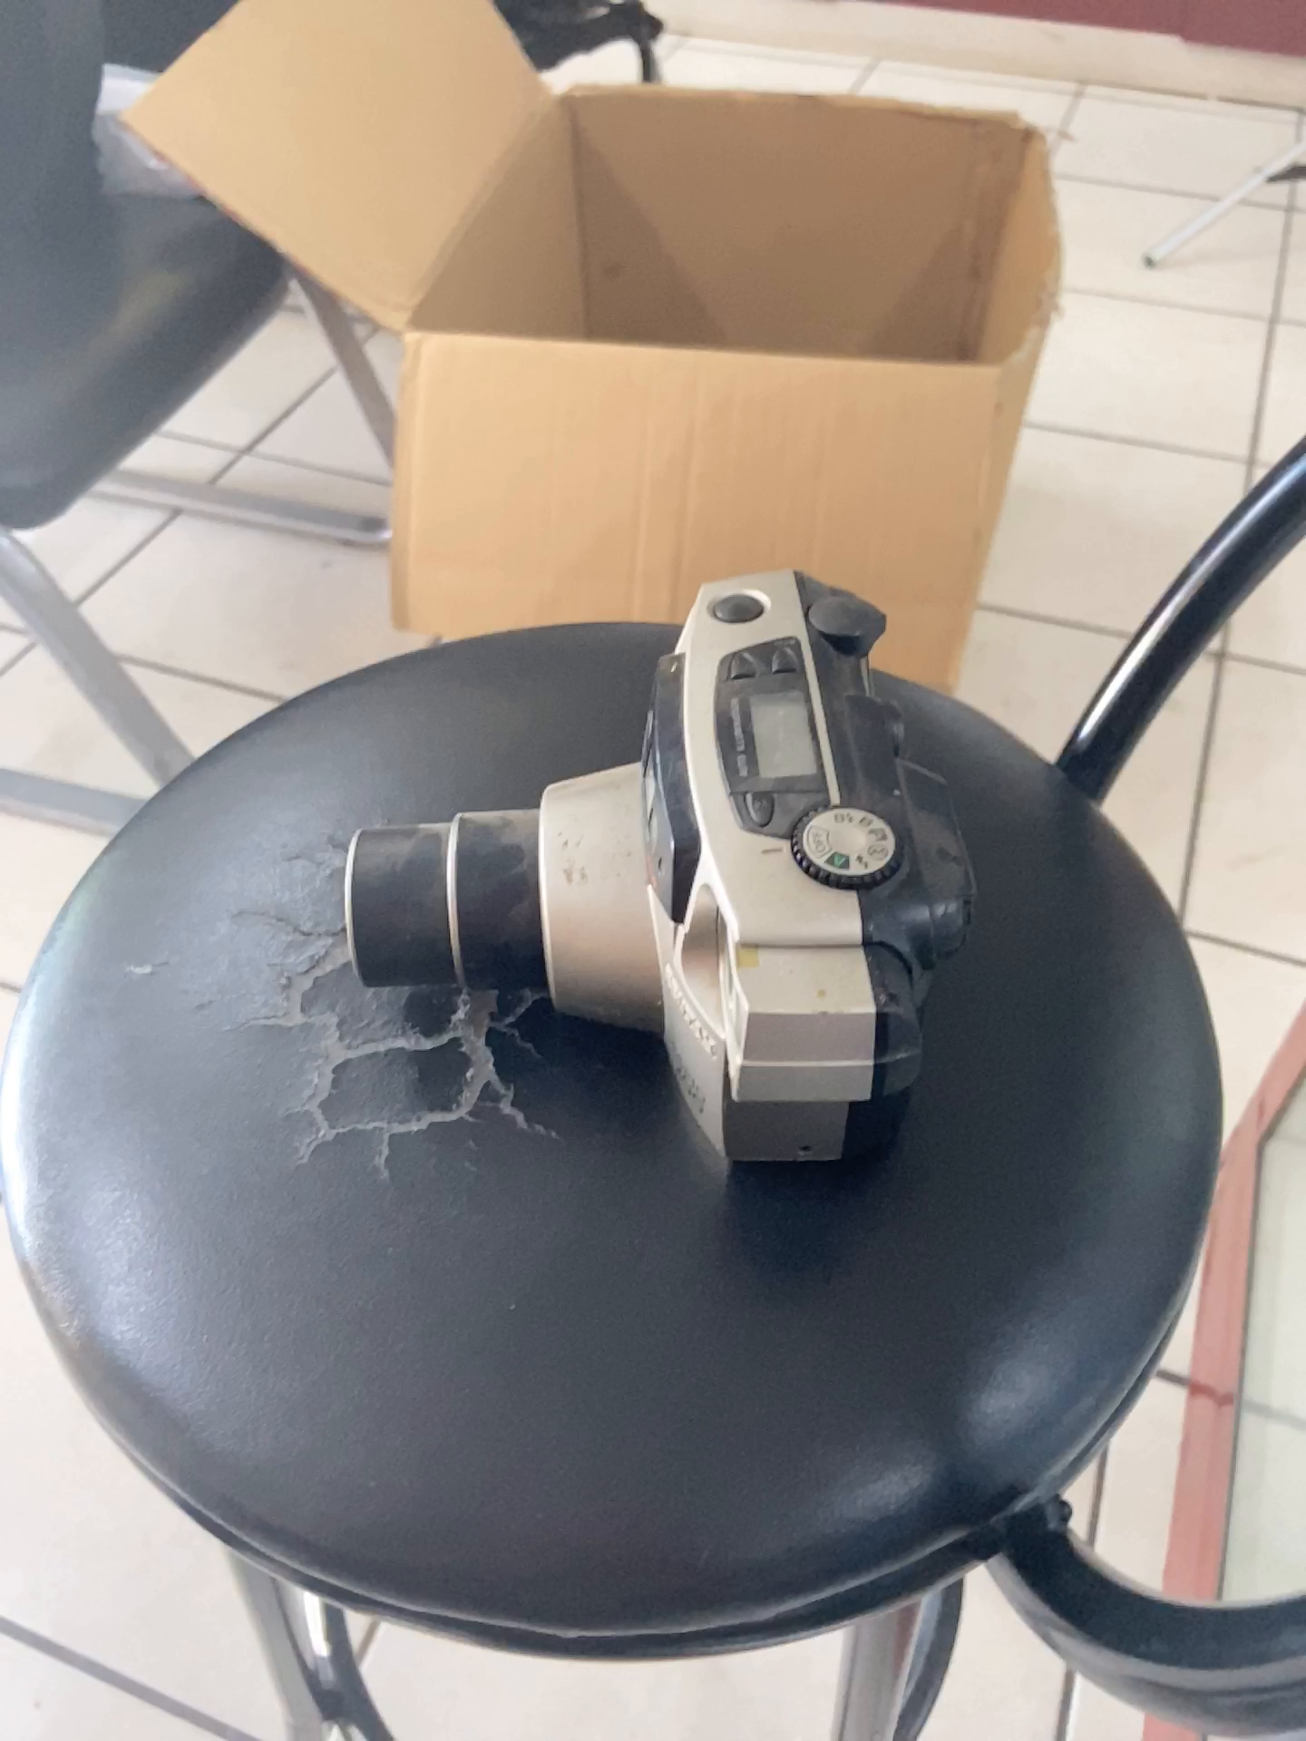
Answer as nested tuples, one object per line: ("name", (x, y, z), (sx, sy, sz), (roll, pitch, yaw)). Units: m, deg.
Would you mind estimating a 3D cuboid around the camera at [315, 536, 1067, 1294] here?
("camera", (0.001, 0.004, 0.288), (0.120, 0.080, 0.131), (-5, 47, -3))
